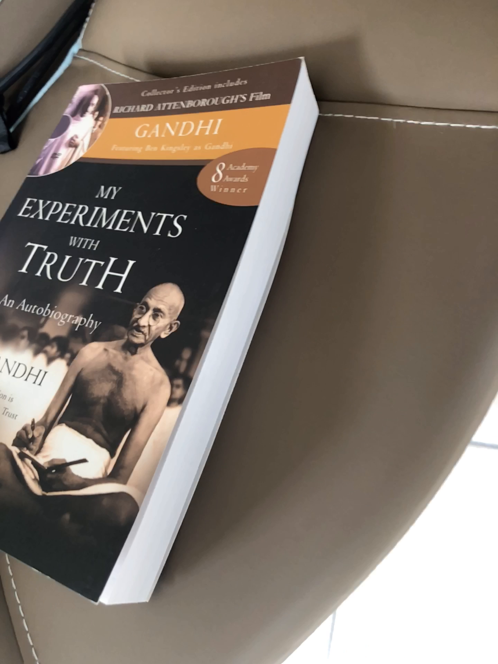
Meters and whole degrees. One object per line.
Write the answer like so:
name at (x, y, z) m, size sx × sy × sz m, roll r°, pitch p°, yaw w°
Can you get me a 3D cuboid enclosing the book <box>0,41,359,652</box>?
book at (-0.062, -0.018, 0.253) m, size 0.150 × 0.050 × 0.240 m, roll 13°, pitch 72°, yaw 28°
